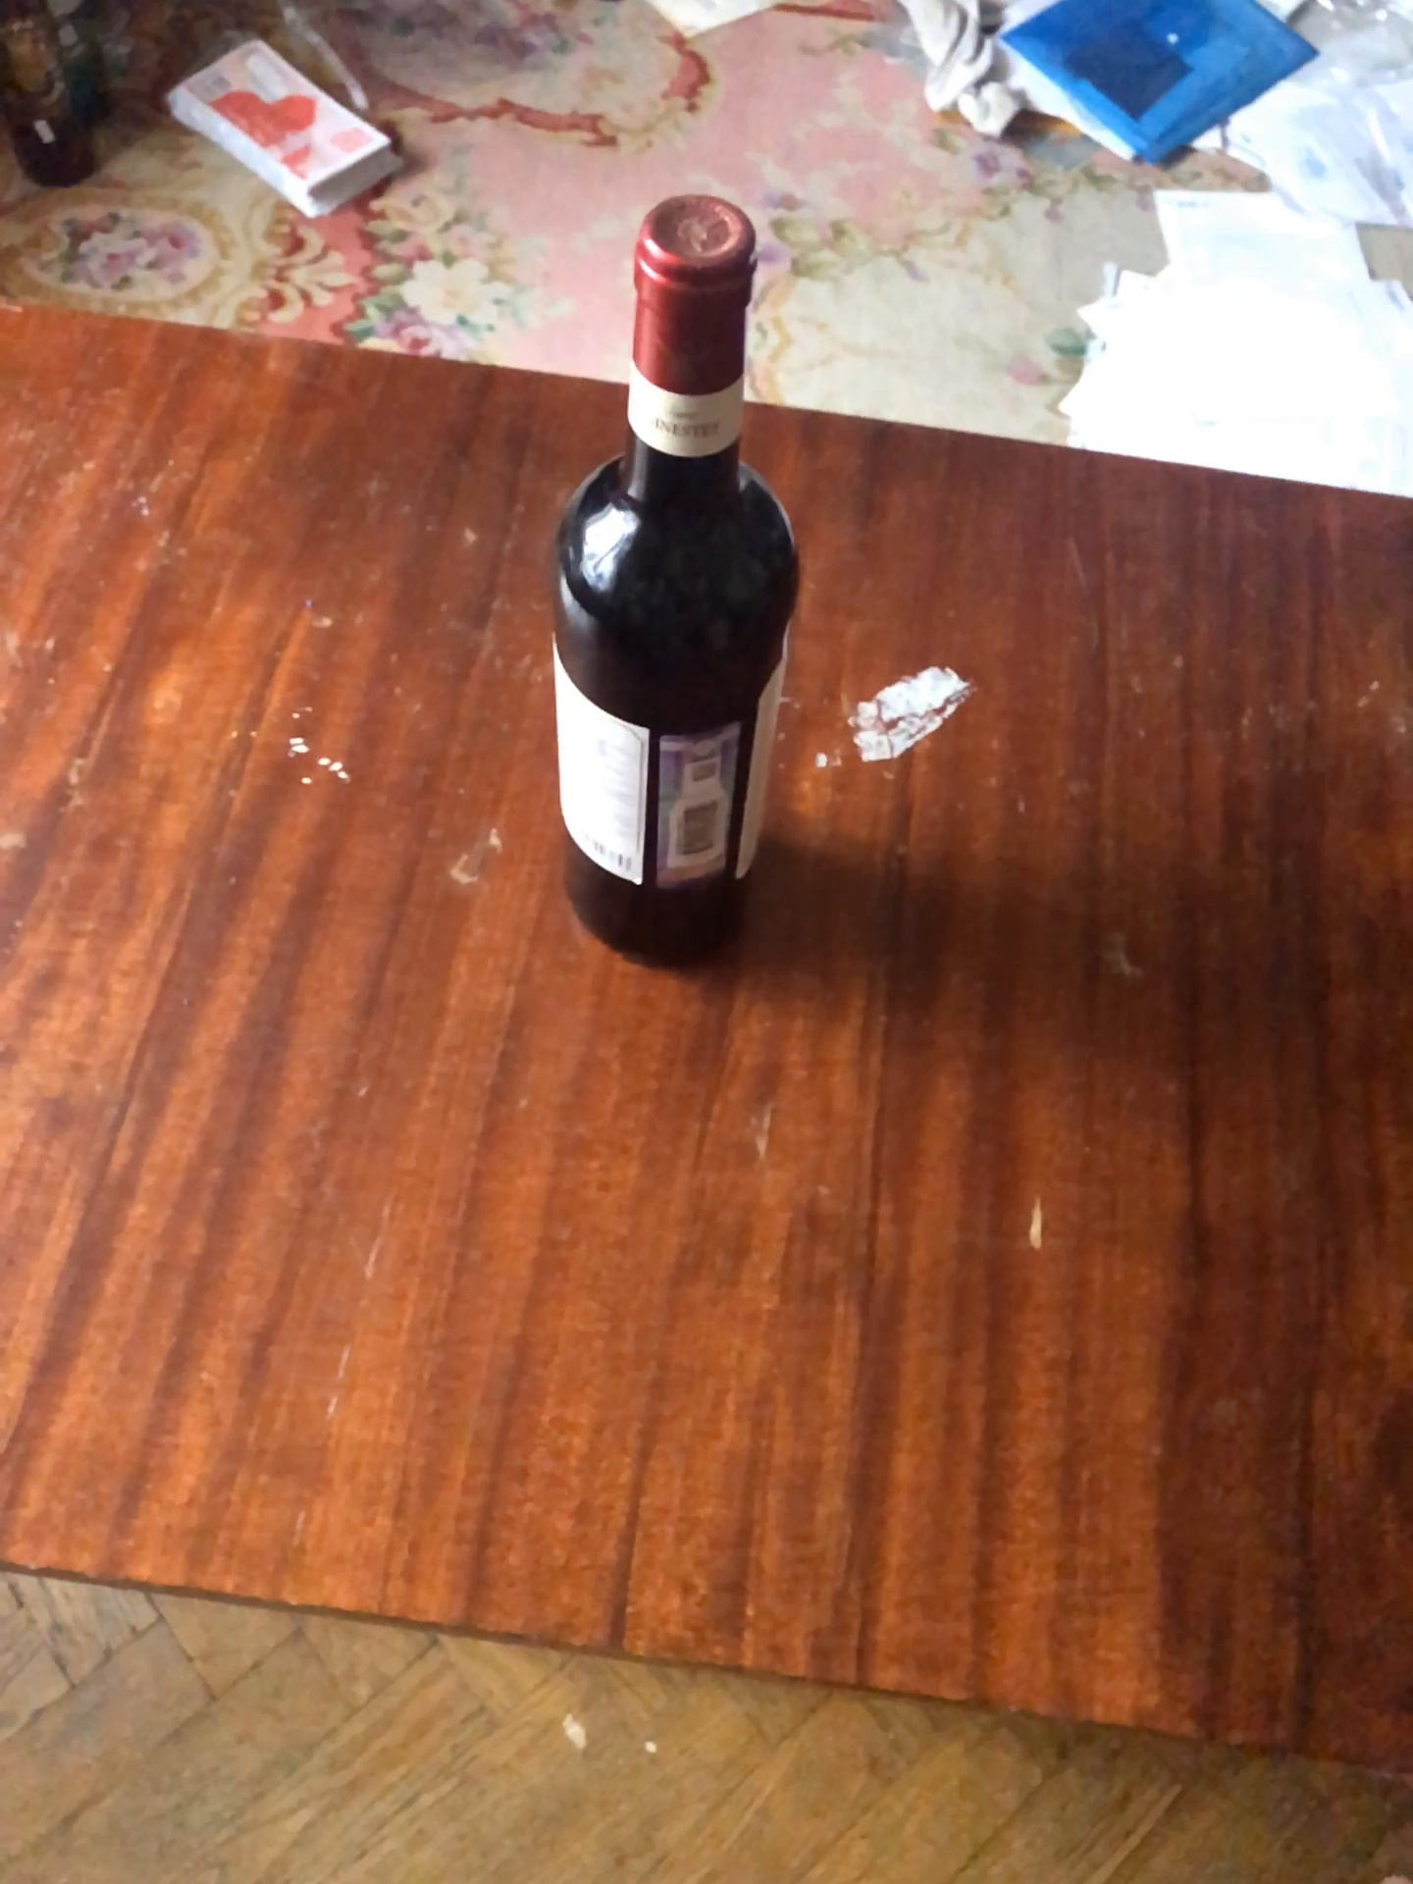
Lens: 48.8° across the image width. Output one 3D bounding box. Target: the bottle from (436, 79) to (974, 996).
[{"bbox_3d":[-0.008,-0.097,0.475,0.090,0.269,0.090,1,62,-3],"label":"bottle"}]
